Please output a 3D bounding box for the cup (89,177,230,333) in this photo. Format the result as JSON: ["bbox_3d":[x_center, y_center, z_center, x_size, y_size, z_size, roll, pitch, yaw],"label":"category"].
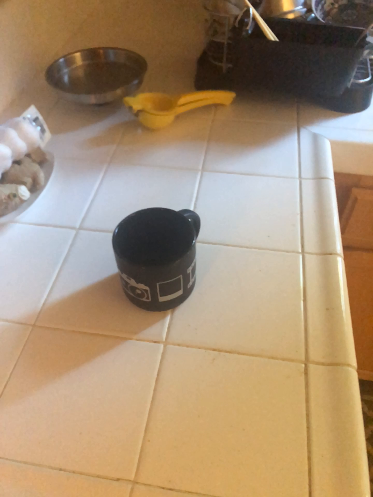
[{"bbox_3d":[-0.025,0.004,0.472,0.090,0.089,0.131,26,54,22],"label":"cup"}]
